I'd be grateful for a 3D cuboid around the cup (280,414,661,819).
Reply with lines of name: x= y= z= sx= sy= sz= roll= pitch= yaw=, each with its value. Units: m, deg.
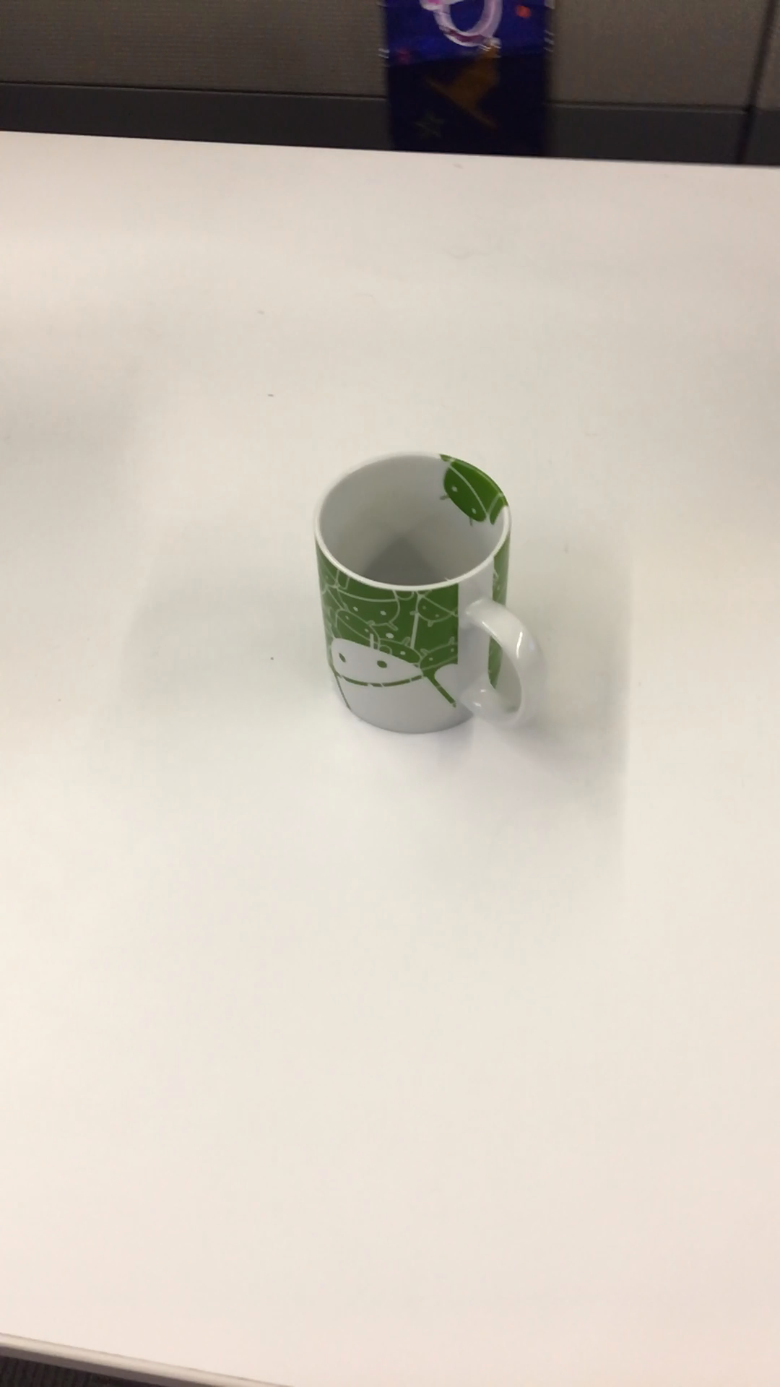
cup: x=0.031 y=-0.034 z=0.489 sx=0.090 sy=0.090 sz=0.120 roll=-38 pitch=60 yaw=-24
